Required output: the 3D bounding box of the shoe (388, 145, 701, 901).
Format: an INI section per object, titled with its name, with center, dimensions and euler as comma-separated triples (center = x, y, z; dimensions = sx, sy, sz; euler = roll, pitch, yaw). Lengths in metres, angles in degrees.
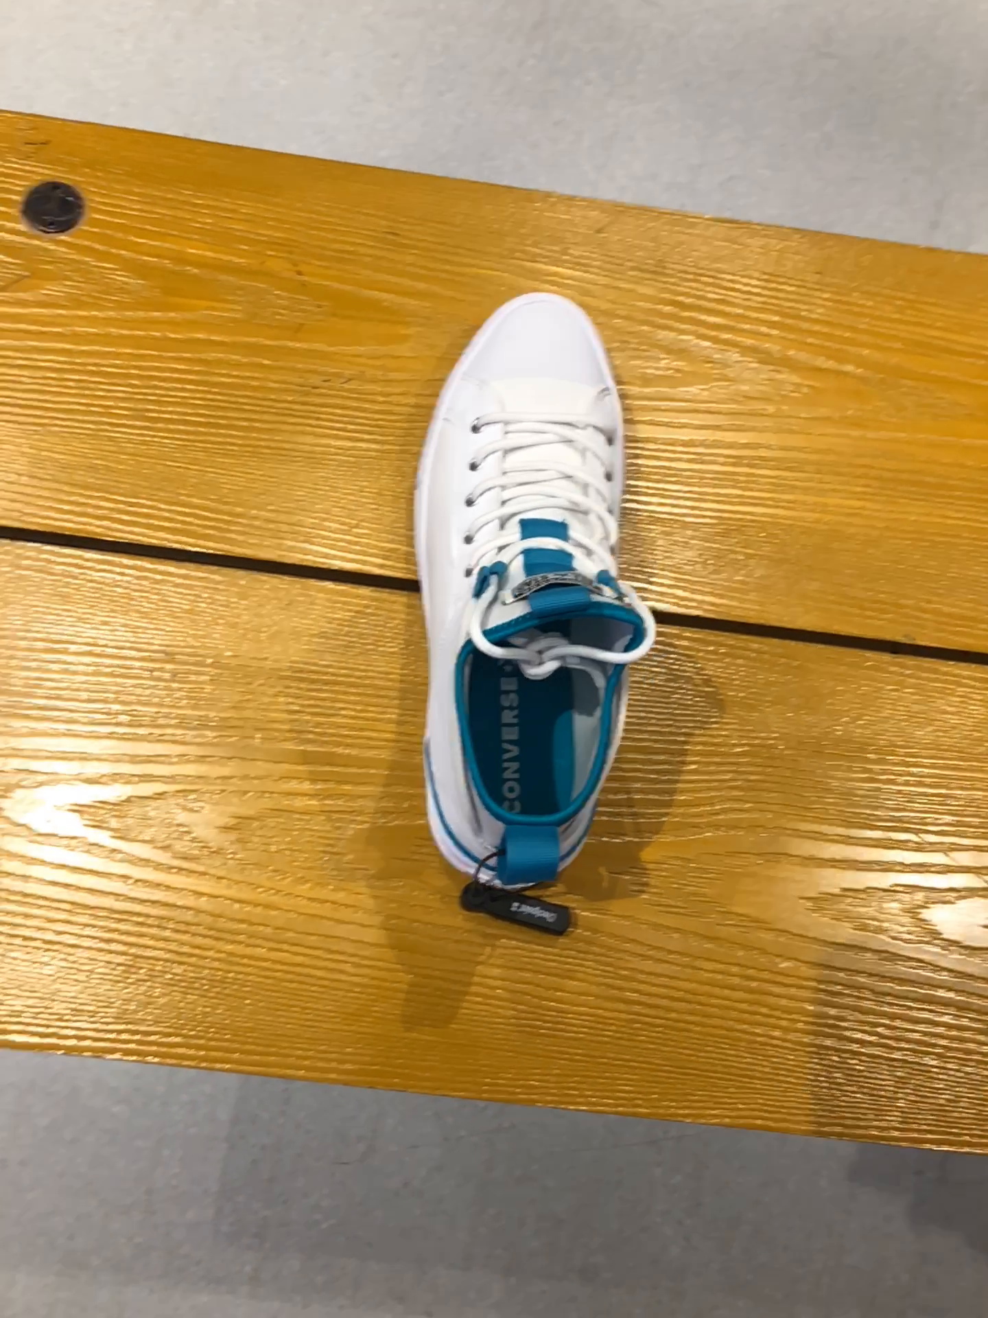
[shoe]
center = 0.016, -0.044, 0.485
dimensions = 0.108, 0.158, 0.293
euler = 2, 77, -3
